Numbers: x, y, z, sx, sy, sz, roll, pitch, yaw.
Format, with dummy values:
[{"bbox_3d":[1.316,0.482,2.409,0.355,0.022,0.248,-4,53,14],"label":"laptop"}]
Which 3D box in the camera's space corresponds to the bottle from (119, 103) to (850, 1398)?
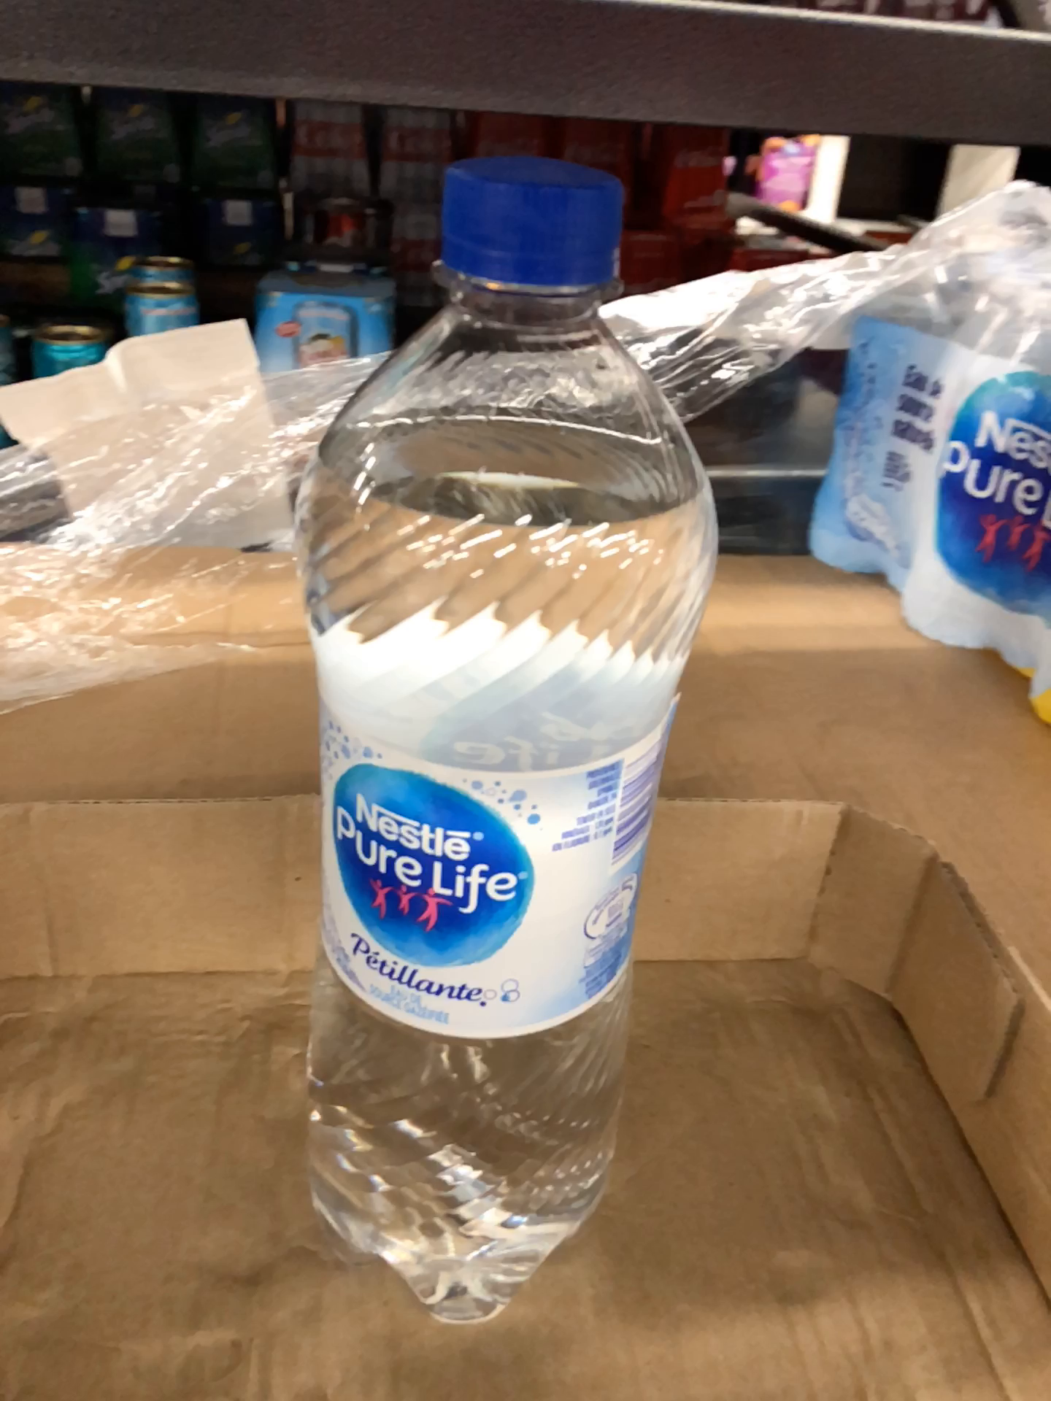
[{"bbox_3d":[-0.011,0.017,0.280,0.100,0.278,0.101,4,28,-2],"label":"bottle"}]
